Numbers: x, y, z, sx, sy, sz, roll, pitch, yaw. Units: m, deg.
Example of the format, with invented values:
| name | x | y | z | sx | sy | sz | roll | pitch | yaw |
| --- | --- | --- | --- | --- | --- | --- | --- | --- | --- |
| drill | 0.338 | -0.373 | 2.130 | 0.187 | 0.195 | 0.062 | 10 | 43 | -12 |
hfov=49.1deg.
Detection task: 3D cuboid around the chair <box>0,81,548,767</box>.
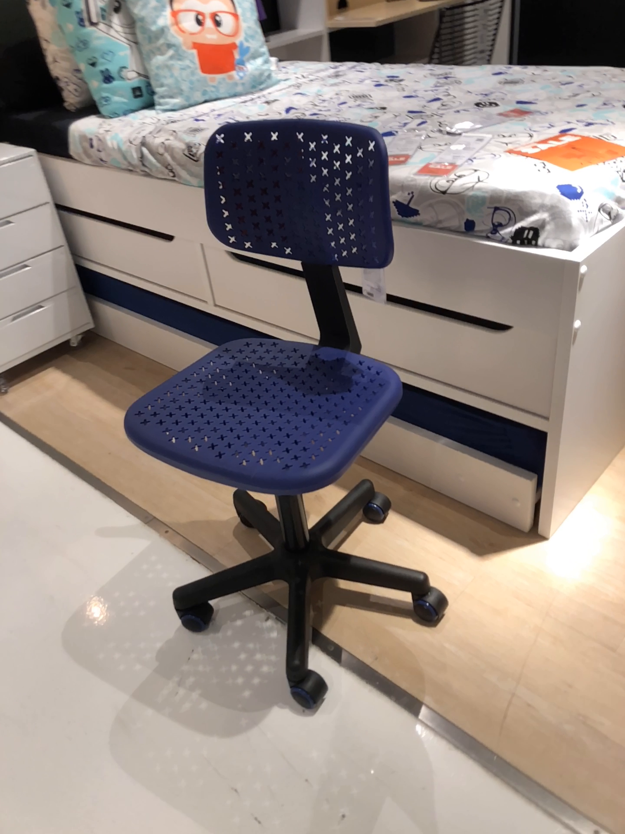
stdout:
| name | x | y | z | sx | sy | sz | roll | pitch | yaw |
| --- | --- | --- | --- | --- | --- | --- | --- | --- | --- |
| chair | -0.031 | -0.030 | 1.088 | 0.552 | 0.814 | 0.523 | 20 | 44 | 34 |
